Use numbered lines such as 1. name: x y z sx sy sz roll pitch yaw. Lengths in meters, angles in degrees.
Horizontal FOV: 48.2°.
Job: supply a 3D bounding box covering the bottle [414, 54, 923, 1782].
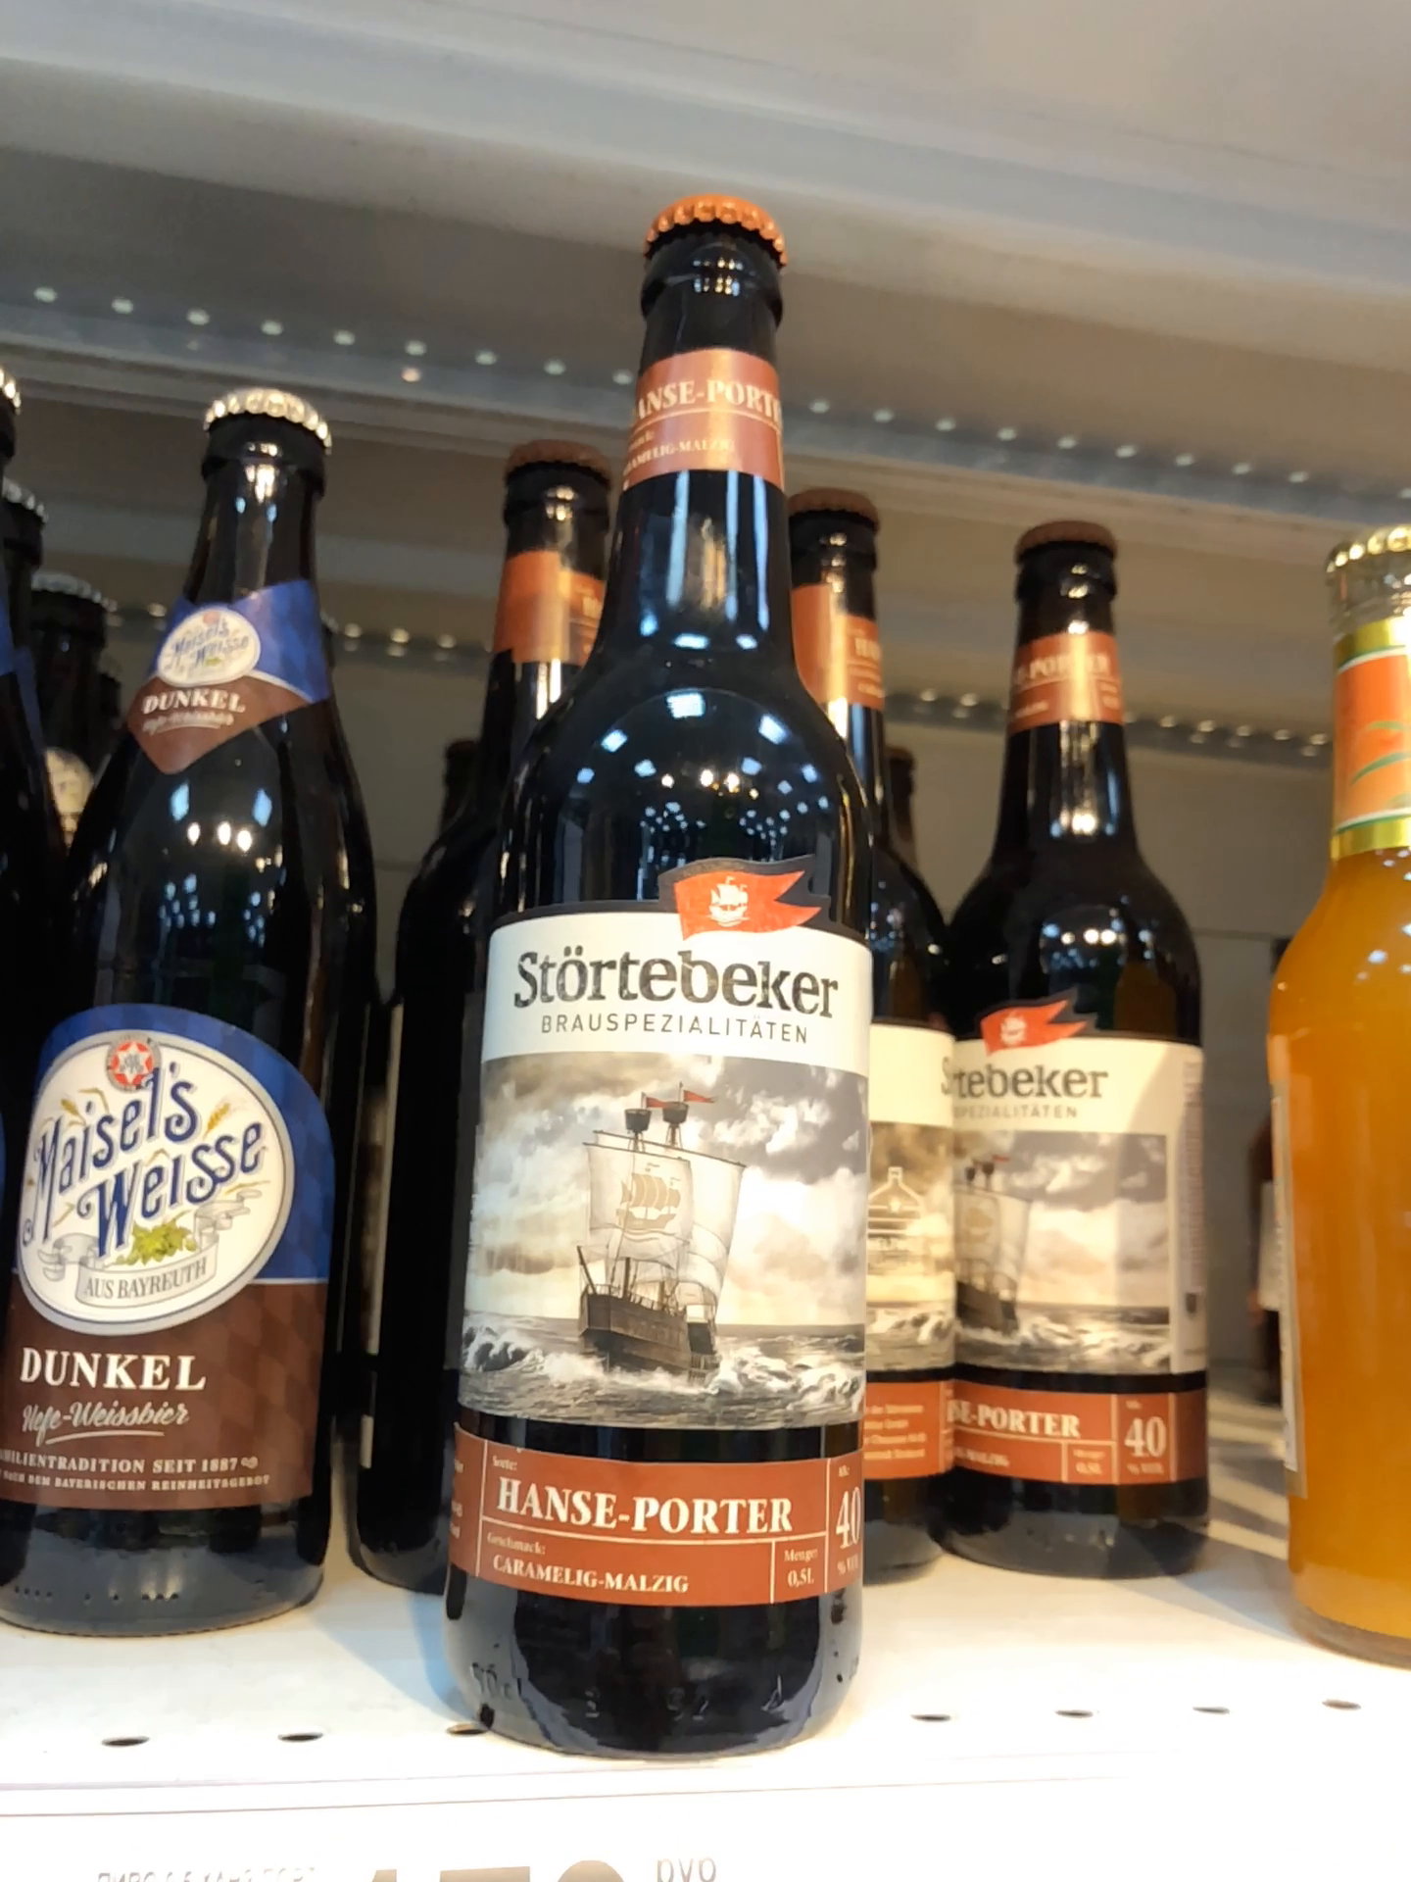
1. bottle: -0.006 -0.010 0.289 0.070 0.281 0.070 2 -11 0
